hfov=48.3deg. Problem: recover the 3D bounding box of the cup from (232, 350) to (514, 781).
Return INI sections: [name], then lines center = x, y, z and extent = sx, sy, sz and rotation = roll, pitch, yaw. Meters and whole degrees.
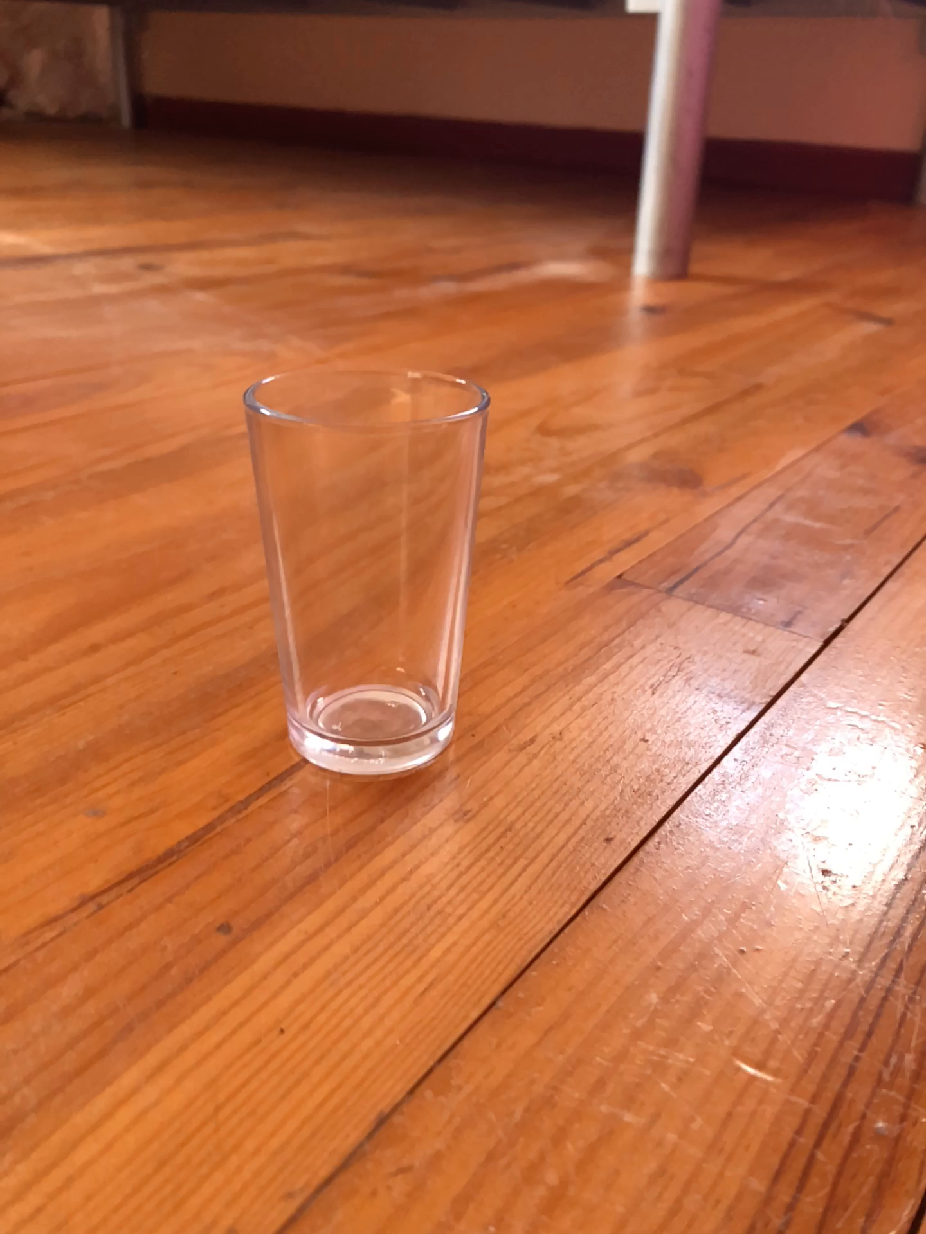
[cup]
center = -0.020, -0.013, 0.229
extent = 0.051, 0.079, 0.055
rotation = 2, 25, -1
